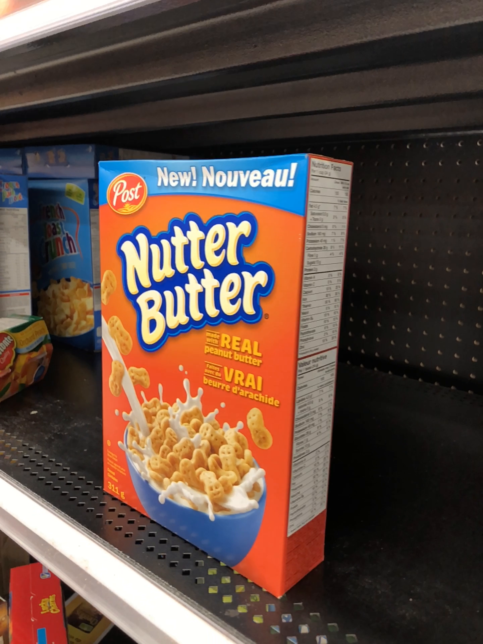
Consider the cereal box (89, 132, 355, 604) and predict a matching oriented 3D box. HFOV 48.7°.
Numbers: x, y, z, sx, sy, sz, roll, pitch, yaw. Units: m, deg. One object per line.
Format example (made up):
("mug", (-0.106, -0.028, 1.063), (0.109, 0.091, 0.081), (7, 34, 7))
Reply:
("cereal box", (-0.026, 0.019, 0.388), (0.190, 0.279, 0.060), (11, 15, 40))
